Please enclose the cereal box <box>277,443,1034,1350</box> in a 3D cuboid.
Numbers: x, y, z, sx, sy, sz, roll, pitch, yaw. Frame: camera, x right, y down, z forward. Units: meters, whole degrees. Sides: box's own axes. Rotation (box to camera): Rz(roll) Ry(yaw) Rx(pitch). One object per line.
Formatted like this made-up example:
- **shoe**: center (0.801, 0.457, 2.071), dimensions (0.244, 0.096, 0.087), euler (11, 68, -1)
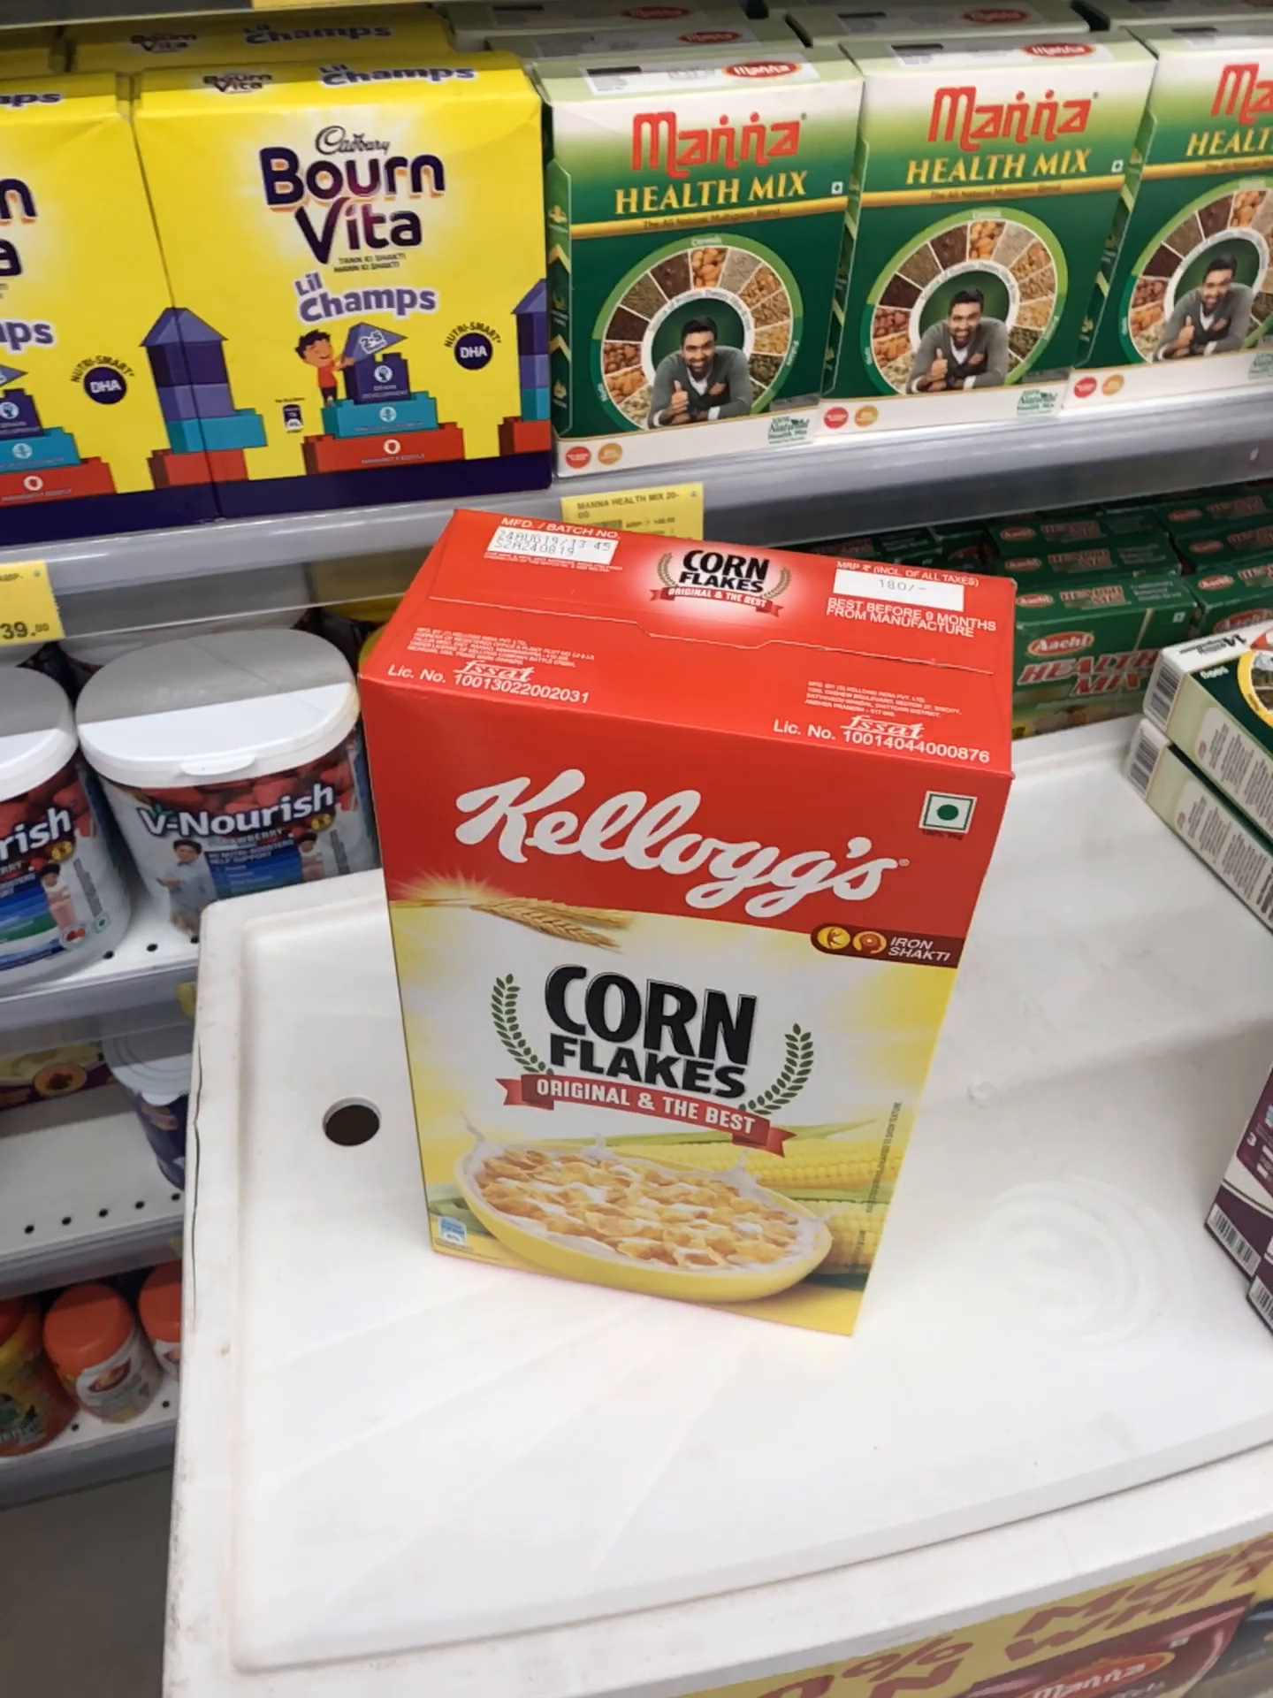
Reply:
- **cereal box**: center (0.010, 0.038, 0.525), dimensions (0.200, 0.329, 0.110), euler (10, 46, 9)
